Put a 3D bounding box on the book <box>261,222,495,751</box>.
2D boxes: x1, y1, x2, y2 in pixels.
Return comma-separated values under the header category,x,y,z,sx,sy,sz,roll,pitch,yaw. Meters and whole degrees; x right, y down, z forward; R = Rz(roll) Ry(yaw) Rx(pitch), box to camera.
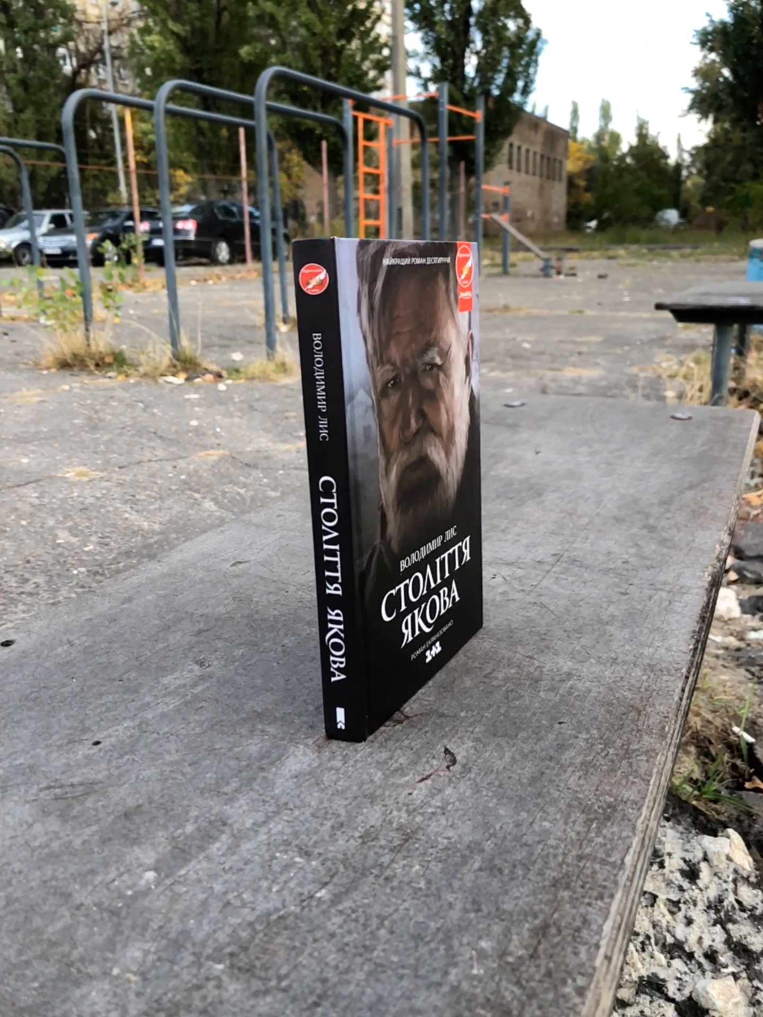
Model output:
category,x,y,z,sx,sy,sz,roll,pitch,yaw
book,0.009,-0.020,0.392,0.030,0.212,0.141,5,18,30
